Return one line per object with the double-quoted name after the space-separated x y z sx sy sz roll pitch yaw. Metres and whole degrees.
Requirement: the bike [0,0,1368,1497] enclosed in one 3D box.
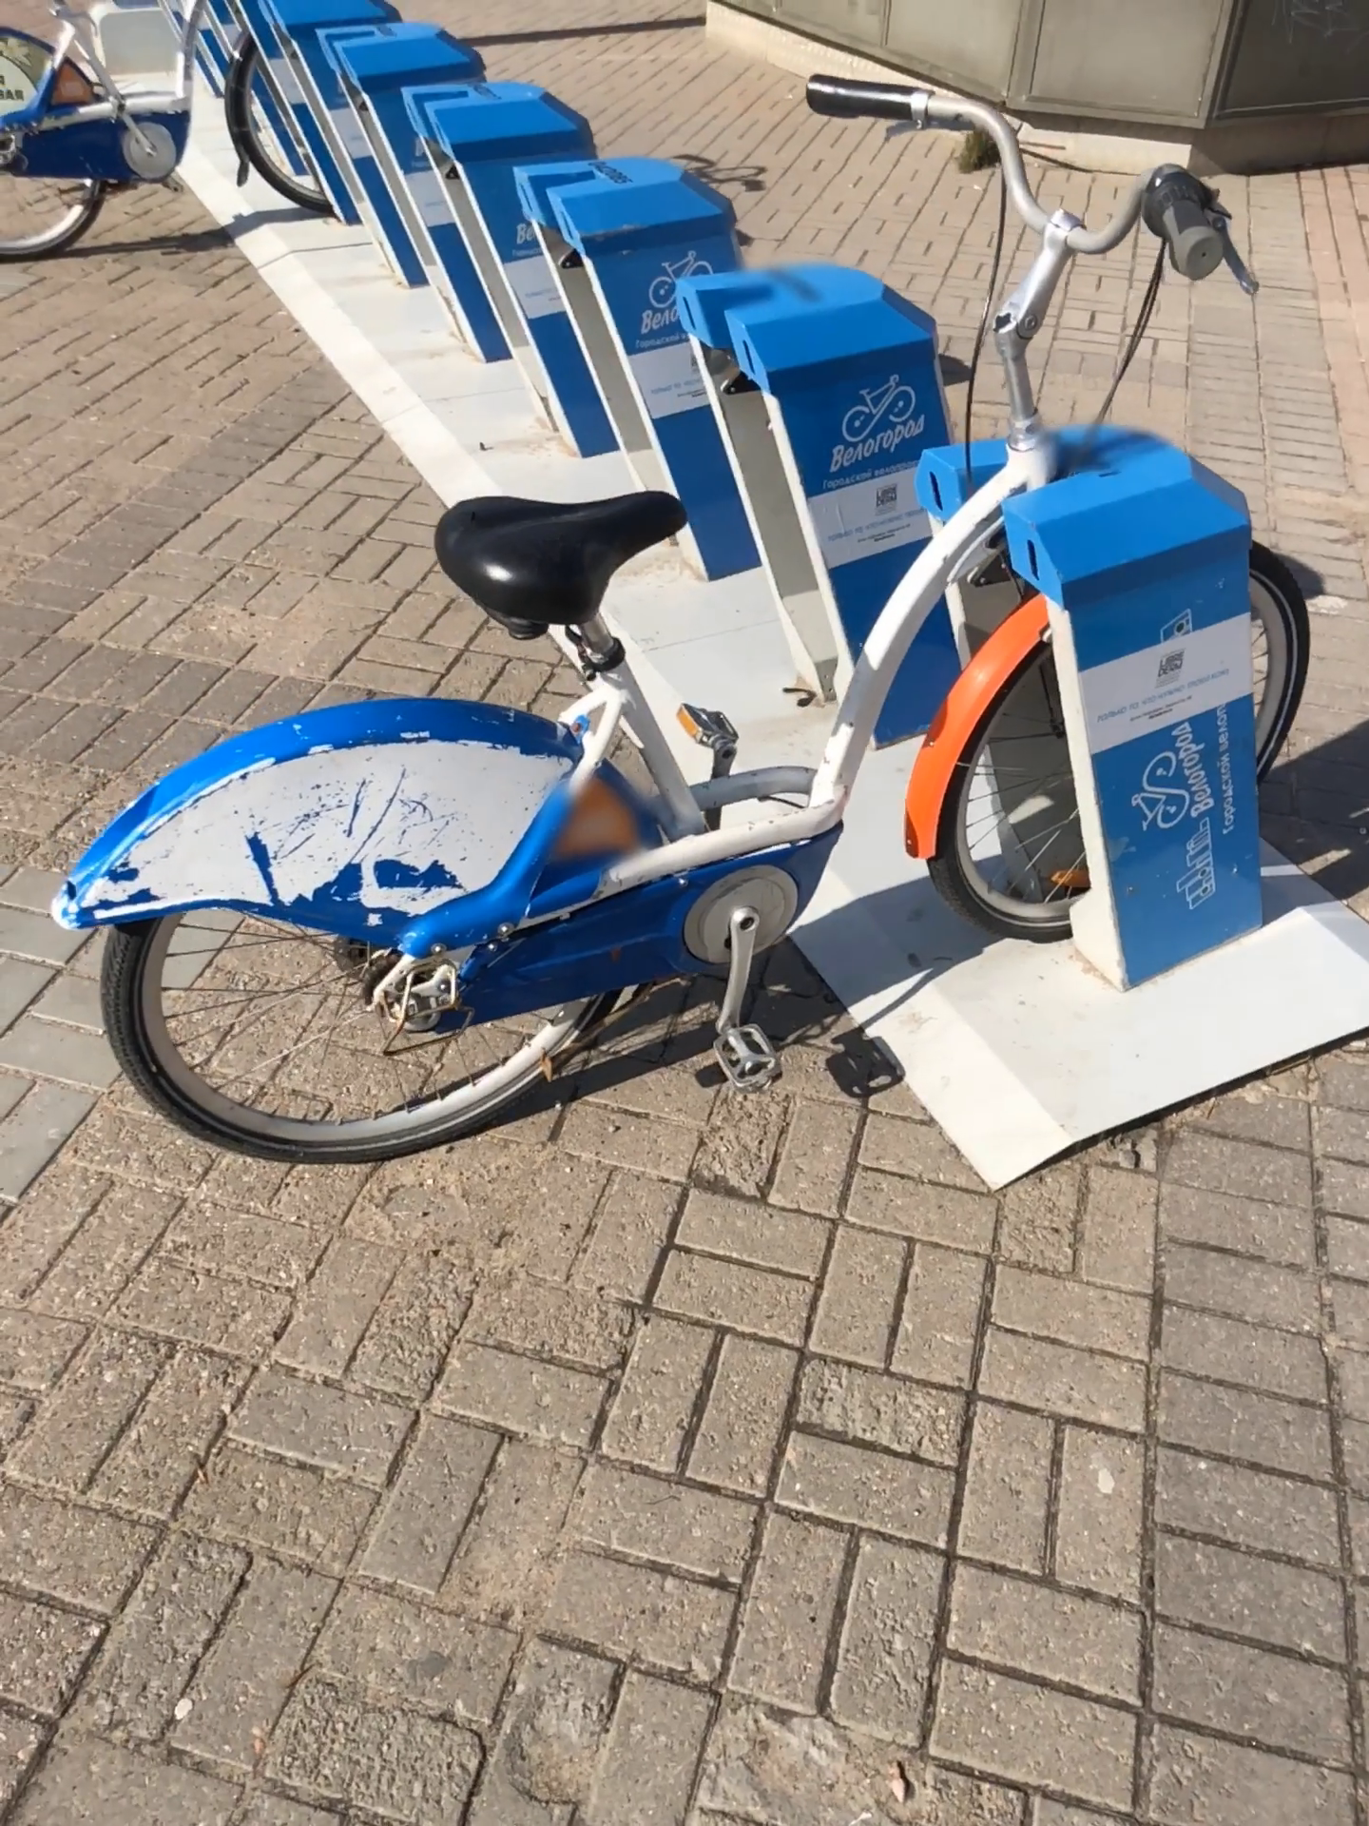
0.149 -0.301 1.727 1.677 1.233 0.685 -17 43 -18 "bike"
